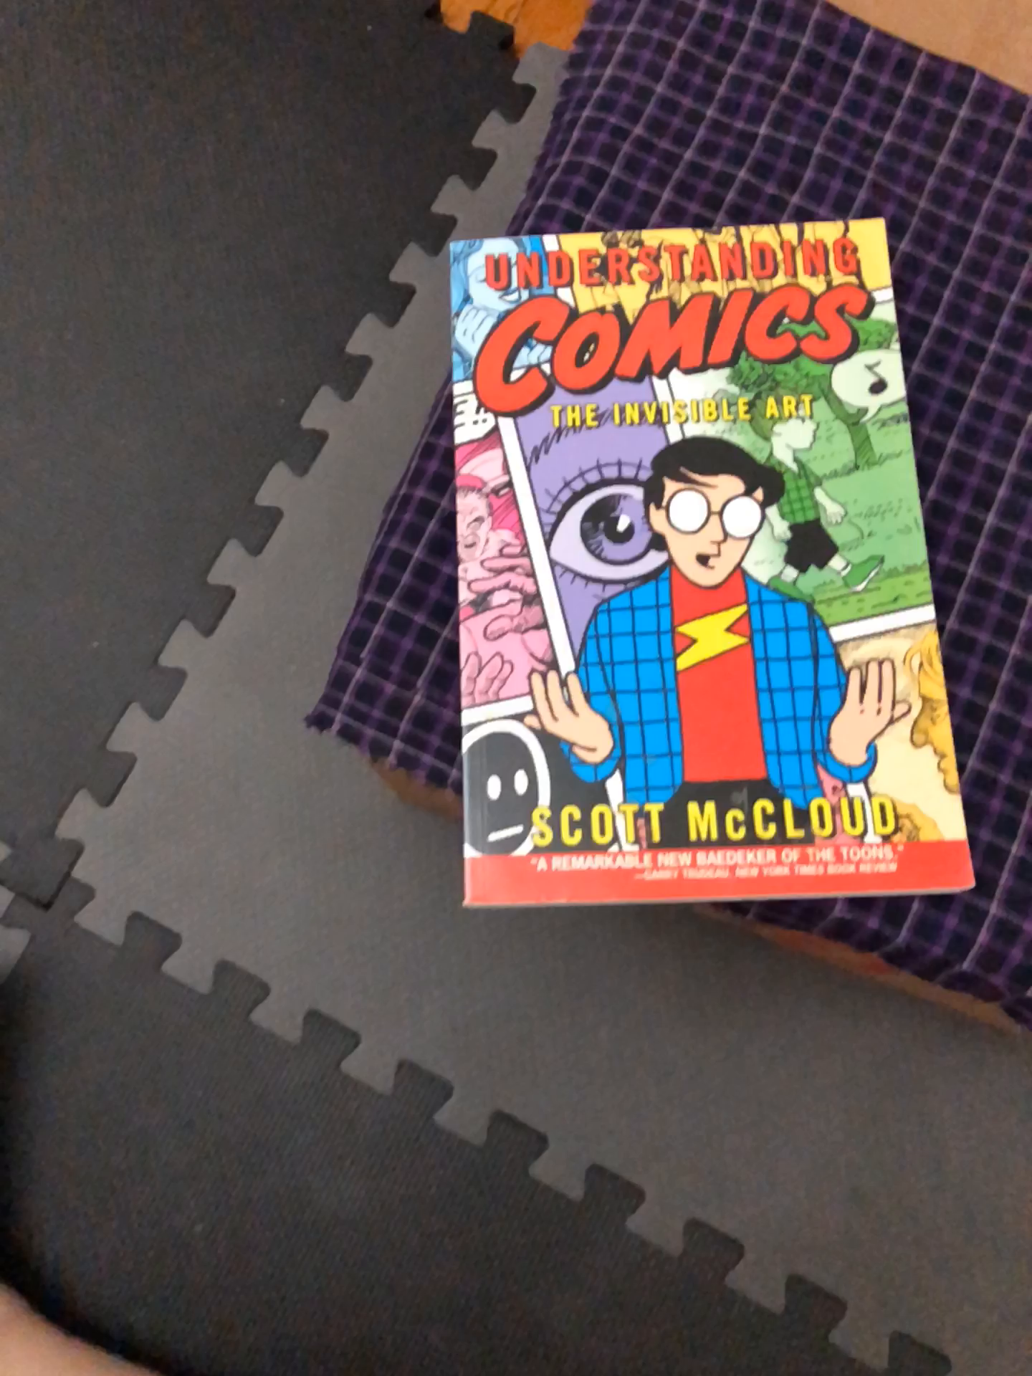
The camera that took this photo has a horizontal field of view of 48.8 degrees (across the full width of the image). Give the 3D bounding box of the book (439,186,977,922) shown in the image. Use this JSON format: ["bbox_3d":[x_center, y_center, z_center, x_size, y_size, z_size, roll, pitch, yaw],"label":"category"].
[{"bbox_3d":[0.060,-0.056,0.413,0.170,0.020,0.270,-2,75,1],"label":"book"}]
